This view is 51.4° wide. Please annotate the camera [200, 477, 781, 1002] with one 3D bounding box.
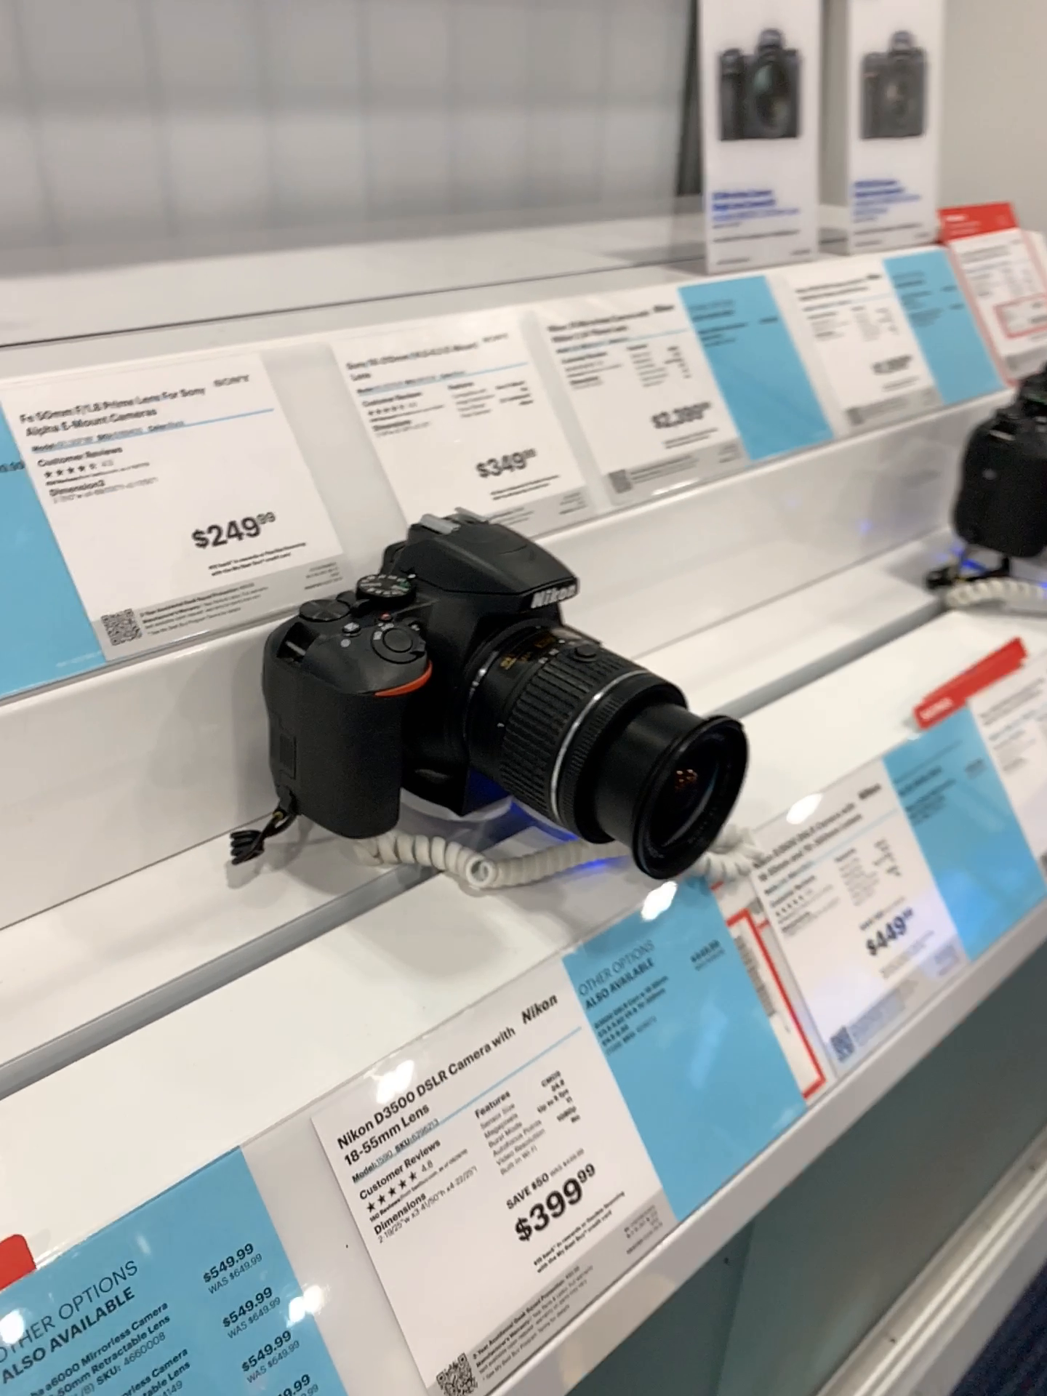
[{"bbox_3d":[-0.013,0.000,0.395,0.150,0.099,0.130,27,38,37],"label":"camera"}]
